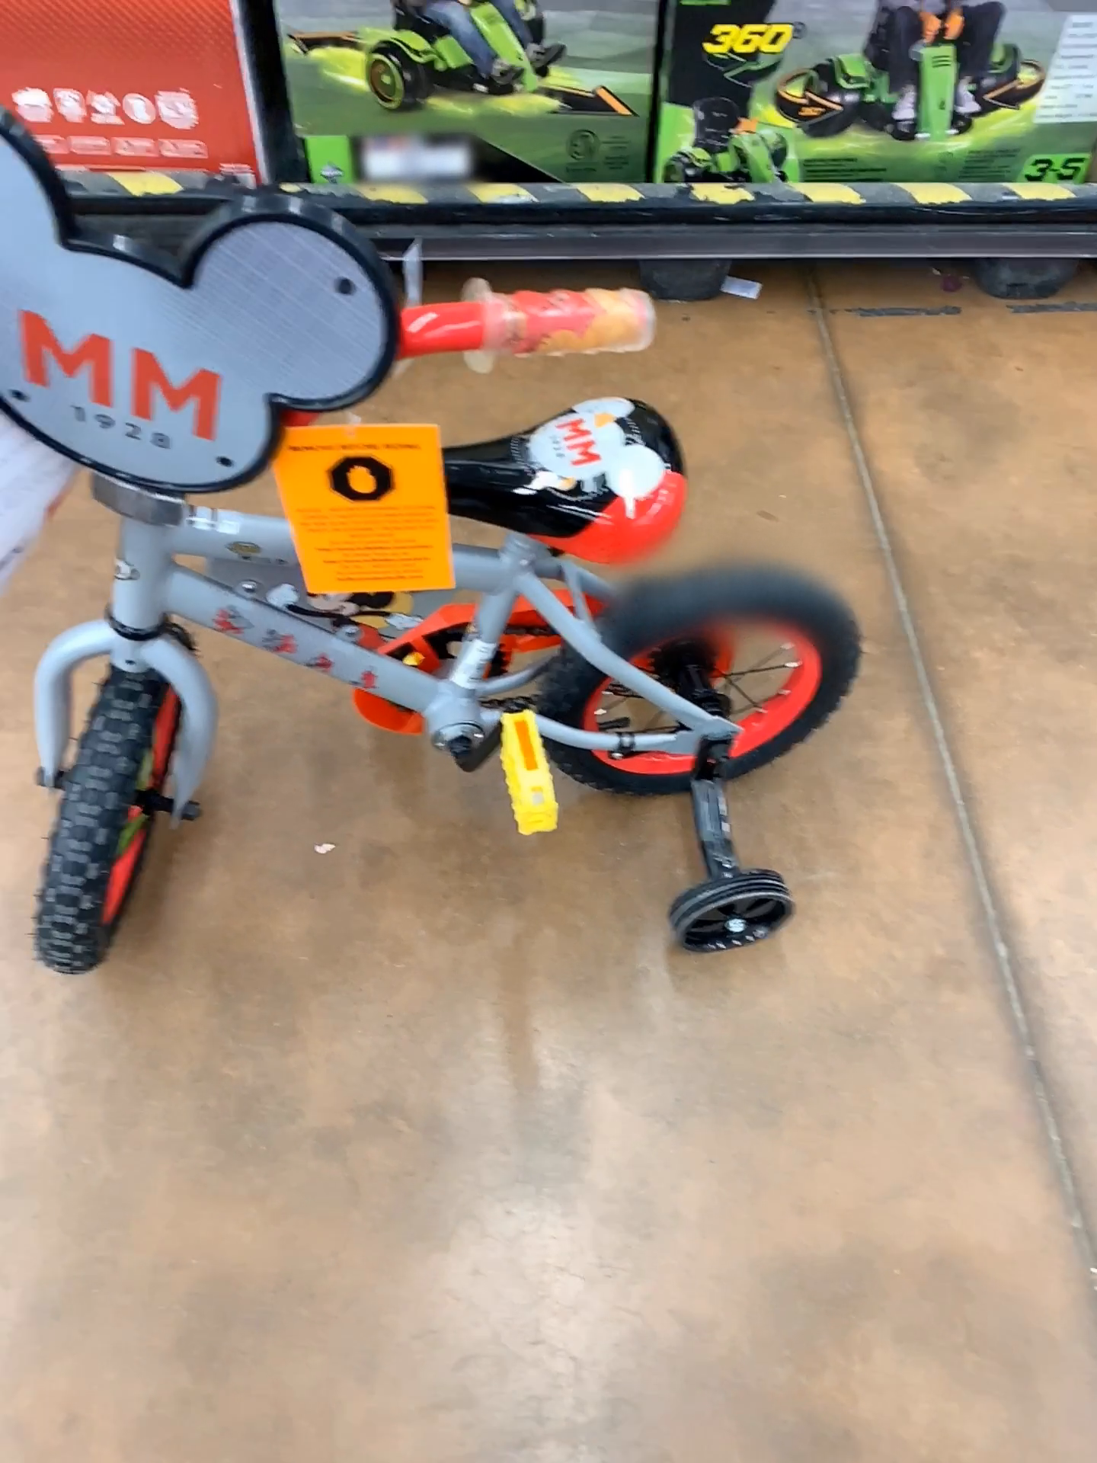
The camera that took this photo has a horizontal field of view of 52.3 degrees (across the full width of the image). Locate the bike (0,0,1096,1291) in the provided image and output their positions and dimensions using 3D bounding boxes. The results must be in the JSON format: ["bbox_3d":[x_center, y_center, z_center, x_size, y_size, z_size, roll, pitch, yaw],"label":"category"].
[{"bbox_3d":[-0.050,-0.066,0.772,0.678,0.742,0.450,-20,55,-12],"label":"bike"}]
